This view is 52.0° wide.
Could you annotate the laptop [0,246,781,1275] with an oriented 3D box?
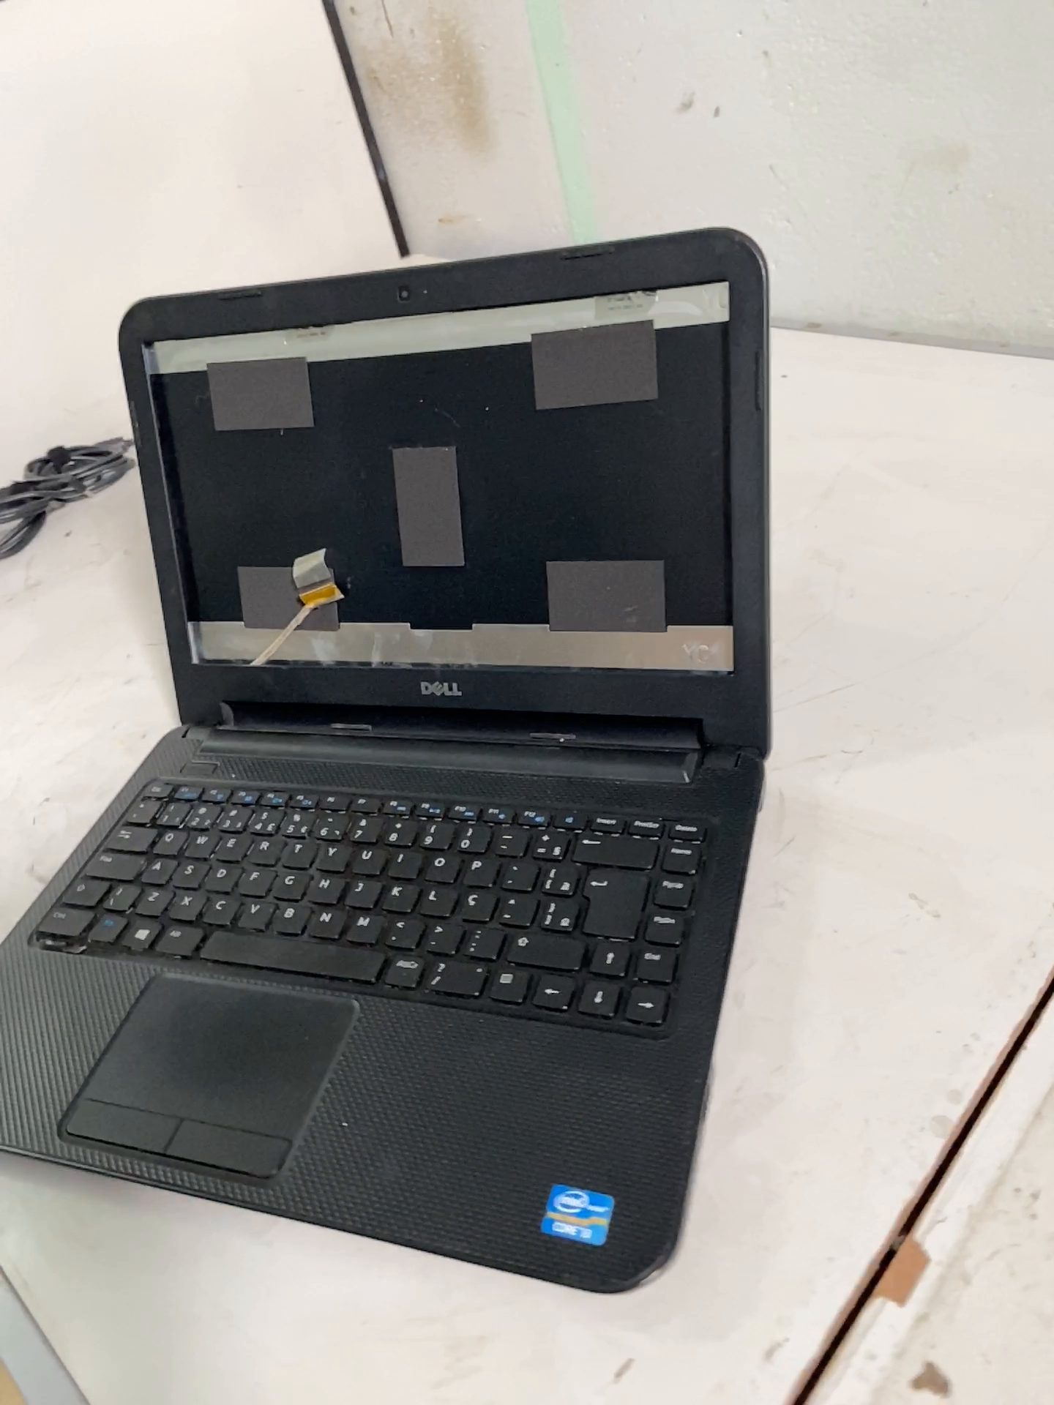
[{"bbox_3d":[-0.087,-0.010,0.448,0.320,0.193,0.336,2,42,22],"label":"laptop"}]
